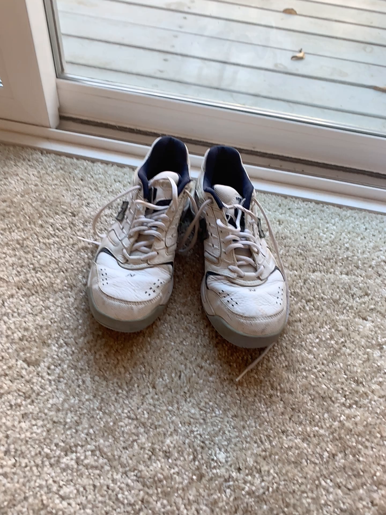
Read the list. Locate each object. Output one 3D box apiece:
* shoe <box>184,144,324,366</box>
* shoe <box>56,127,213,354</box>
[{"bbox_3d":[0.059,-0.016,0.518,0.110,0.109,0.281,-1,51,-7],"label":"shoe"},{"bbox_3d":[-0.056,-0.035,0.495,0.110,0.100,0.271,11,51,2],"label":"shoe"}]
